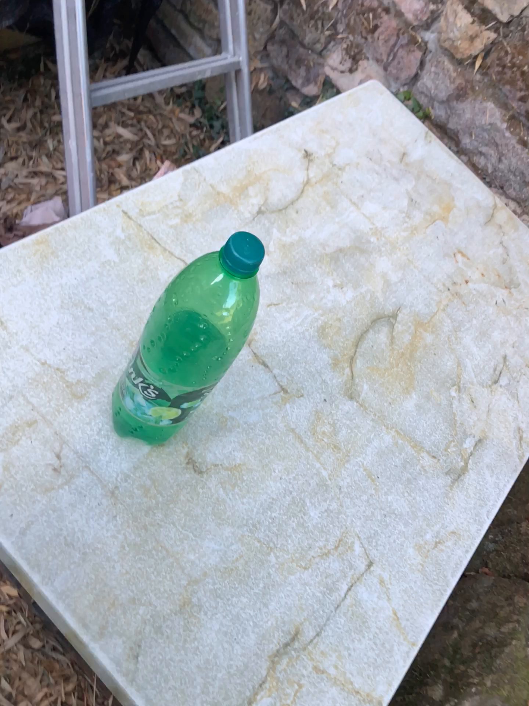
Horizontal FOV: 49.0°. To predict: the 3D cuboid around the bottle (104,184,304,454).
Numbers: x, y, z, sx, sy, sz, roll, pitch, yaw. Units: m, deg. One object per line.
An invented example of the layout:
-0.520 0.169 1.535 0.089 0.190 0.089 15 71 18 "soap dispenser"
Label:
-0.073 -0.004 0.534 0.090 0.308 0.090 11 59 -19 "bottle"
